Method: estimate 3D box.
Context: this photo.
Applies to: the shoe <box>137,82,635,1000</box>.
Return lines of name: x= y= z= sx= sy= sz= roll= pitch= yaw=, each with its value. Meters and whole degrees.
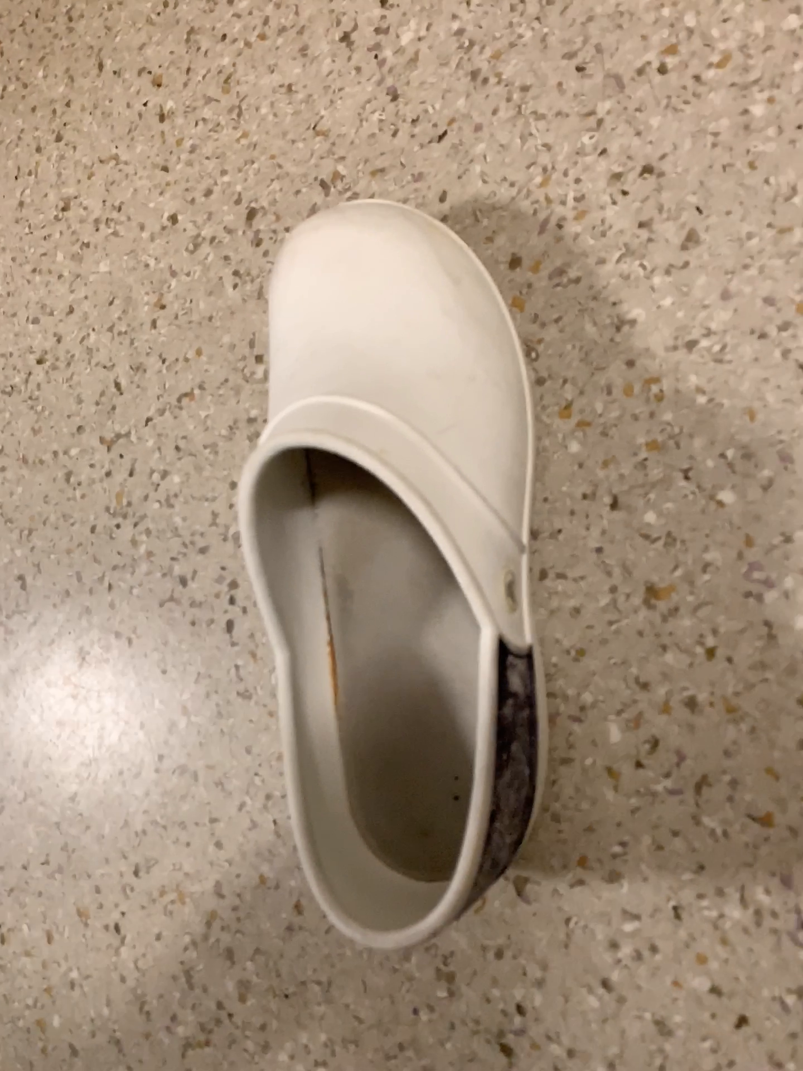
shoe: x=-0.006 y=0.004 z=0.288 sx=0.107 sy=0.101 sz=0.255 roll=-14 pitch=78 yaw=25
